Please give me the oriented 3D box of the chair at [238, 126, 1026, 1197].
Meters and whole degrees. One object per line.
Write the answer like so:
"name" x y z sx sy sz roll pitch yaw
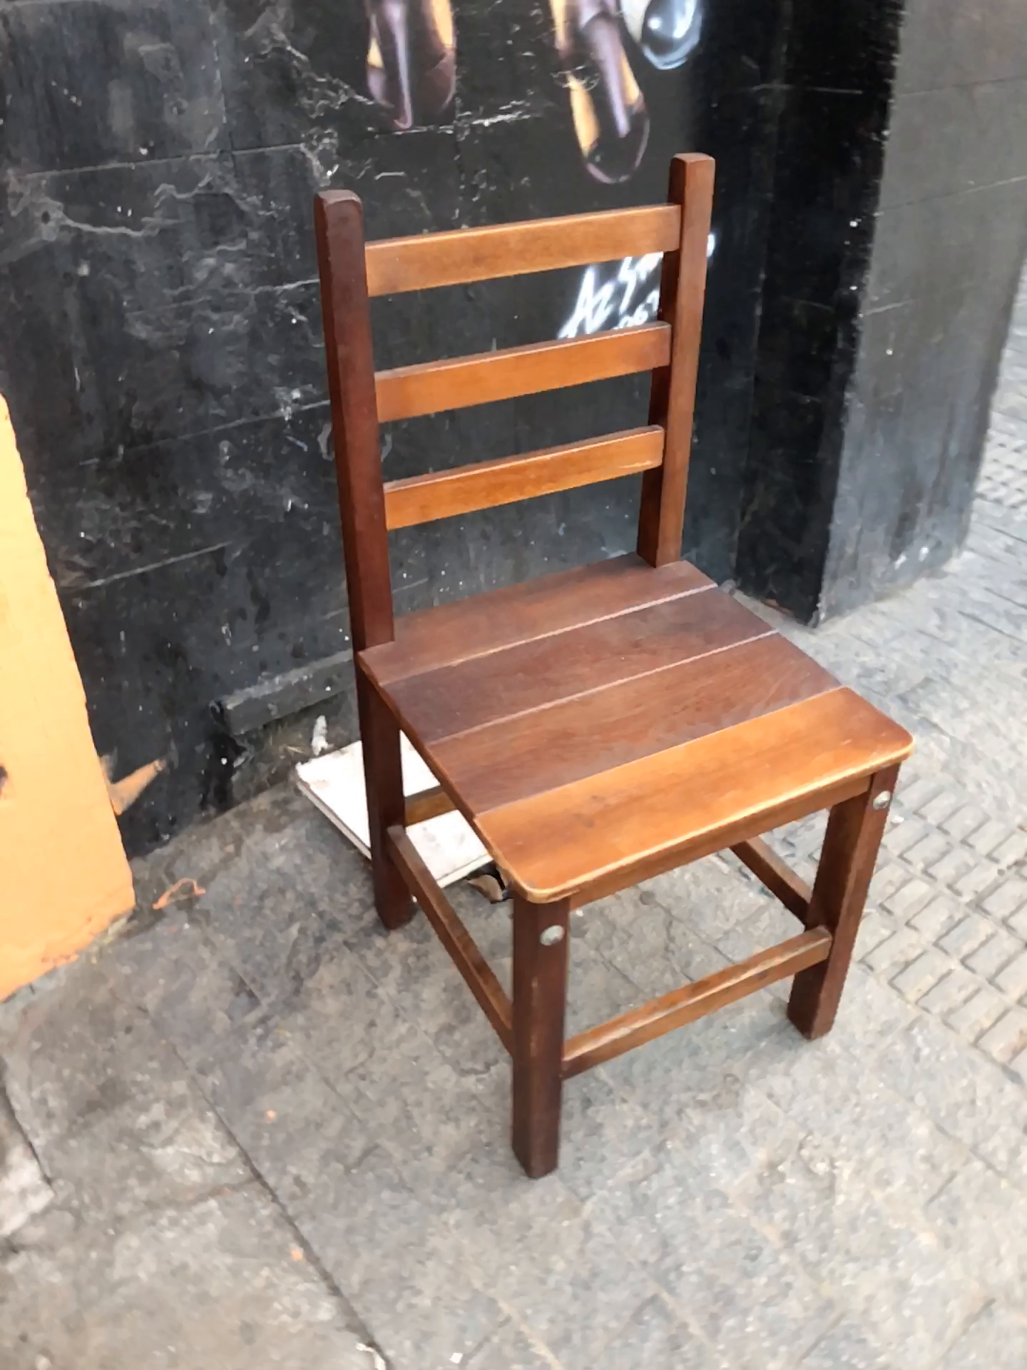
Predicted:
"chair" 0.078 -0.041 1.172 0.461 0.893 0.503 -17 36 -23
